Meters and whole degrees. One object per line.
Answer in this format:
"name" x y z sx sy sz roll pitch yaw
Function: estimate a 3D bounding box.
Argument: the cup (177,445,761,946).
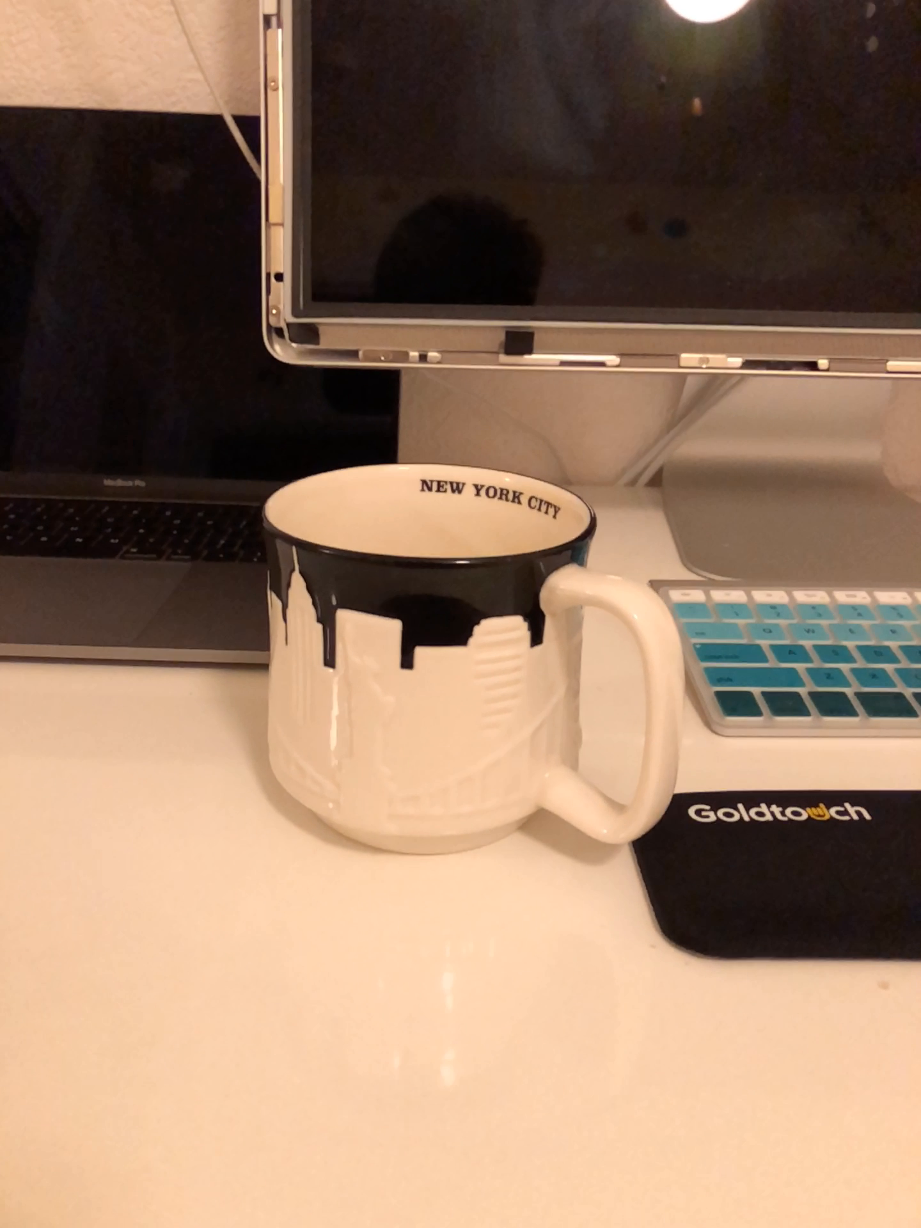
"cup" 0.006 0.012 0.322 0.140 0.090 0.110 14 26 25
